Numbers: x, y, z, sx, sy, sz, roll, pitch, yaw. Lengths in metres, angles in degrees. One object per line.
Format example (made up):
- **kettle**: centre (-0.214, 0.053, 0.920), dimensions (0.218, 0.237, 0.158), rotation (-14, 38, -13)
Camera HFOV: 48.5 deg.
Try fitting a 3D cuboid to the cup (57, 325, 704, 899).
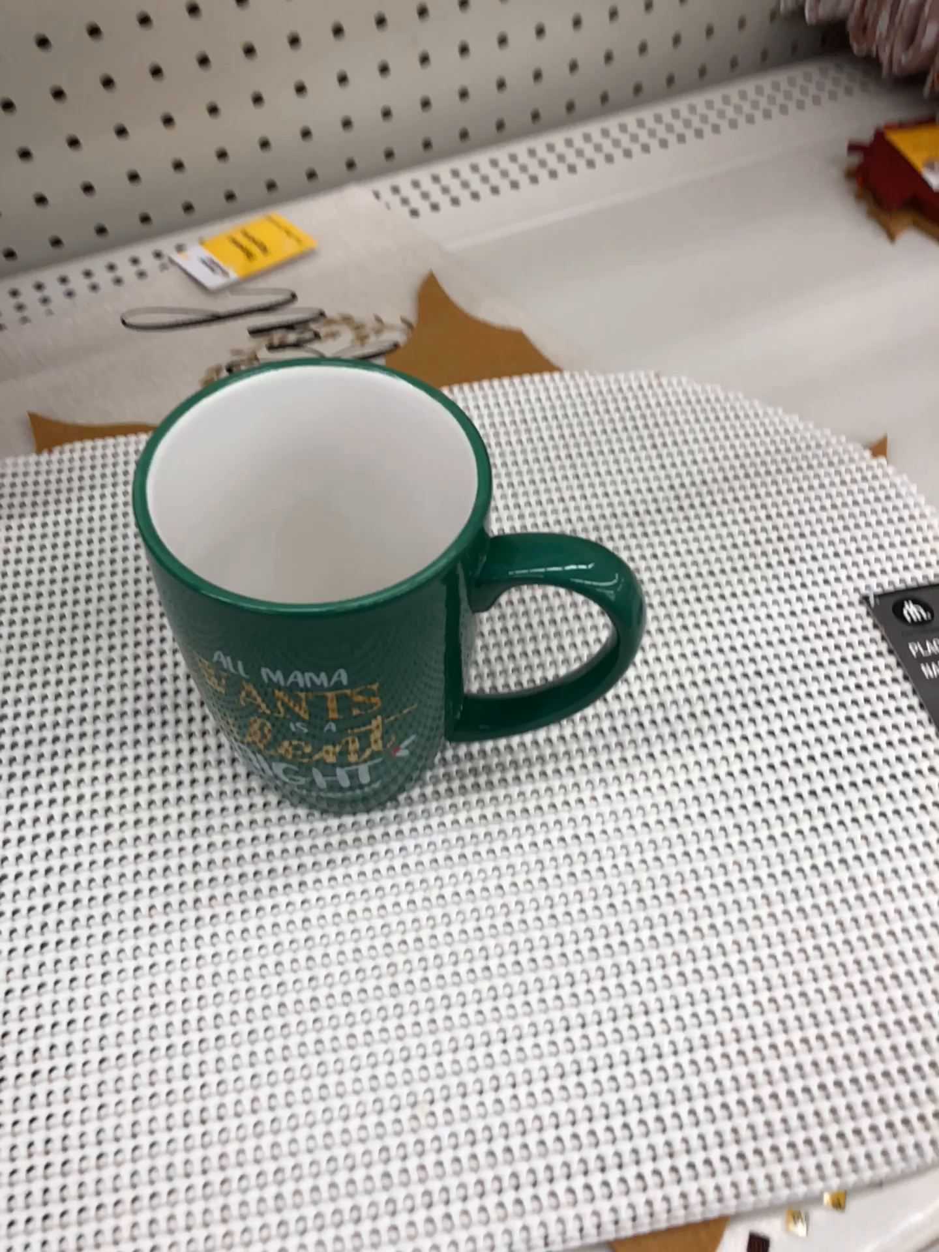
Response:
- **cup**: centre (-0.015, -0.002, 0.302), dimensions (0.140, 0.110, 0.100), rotation (9, 53, 7)
